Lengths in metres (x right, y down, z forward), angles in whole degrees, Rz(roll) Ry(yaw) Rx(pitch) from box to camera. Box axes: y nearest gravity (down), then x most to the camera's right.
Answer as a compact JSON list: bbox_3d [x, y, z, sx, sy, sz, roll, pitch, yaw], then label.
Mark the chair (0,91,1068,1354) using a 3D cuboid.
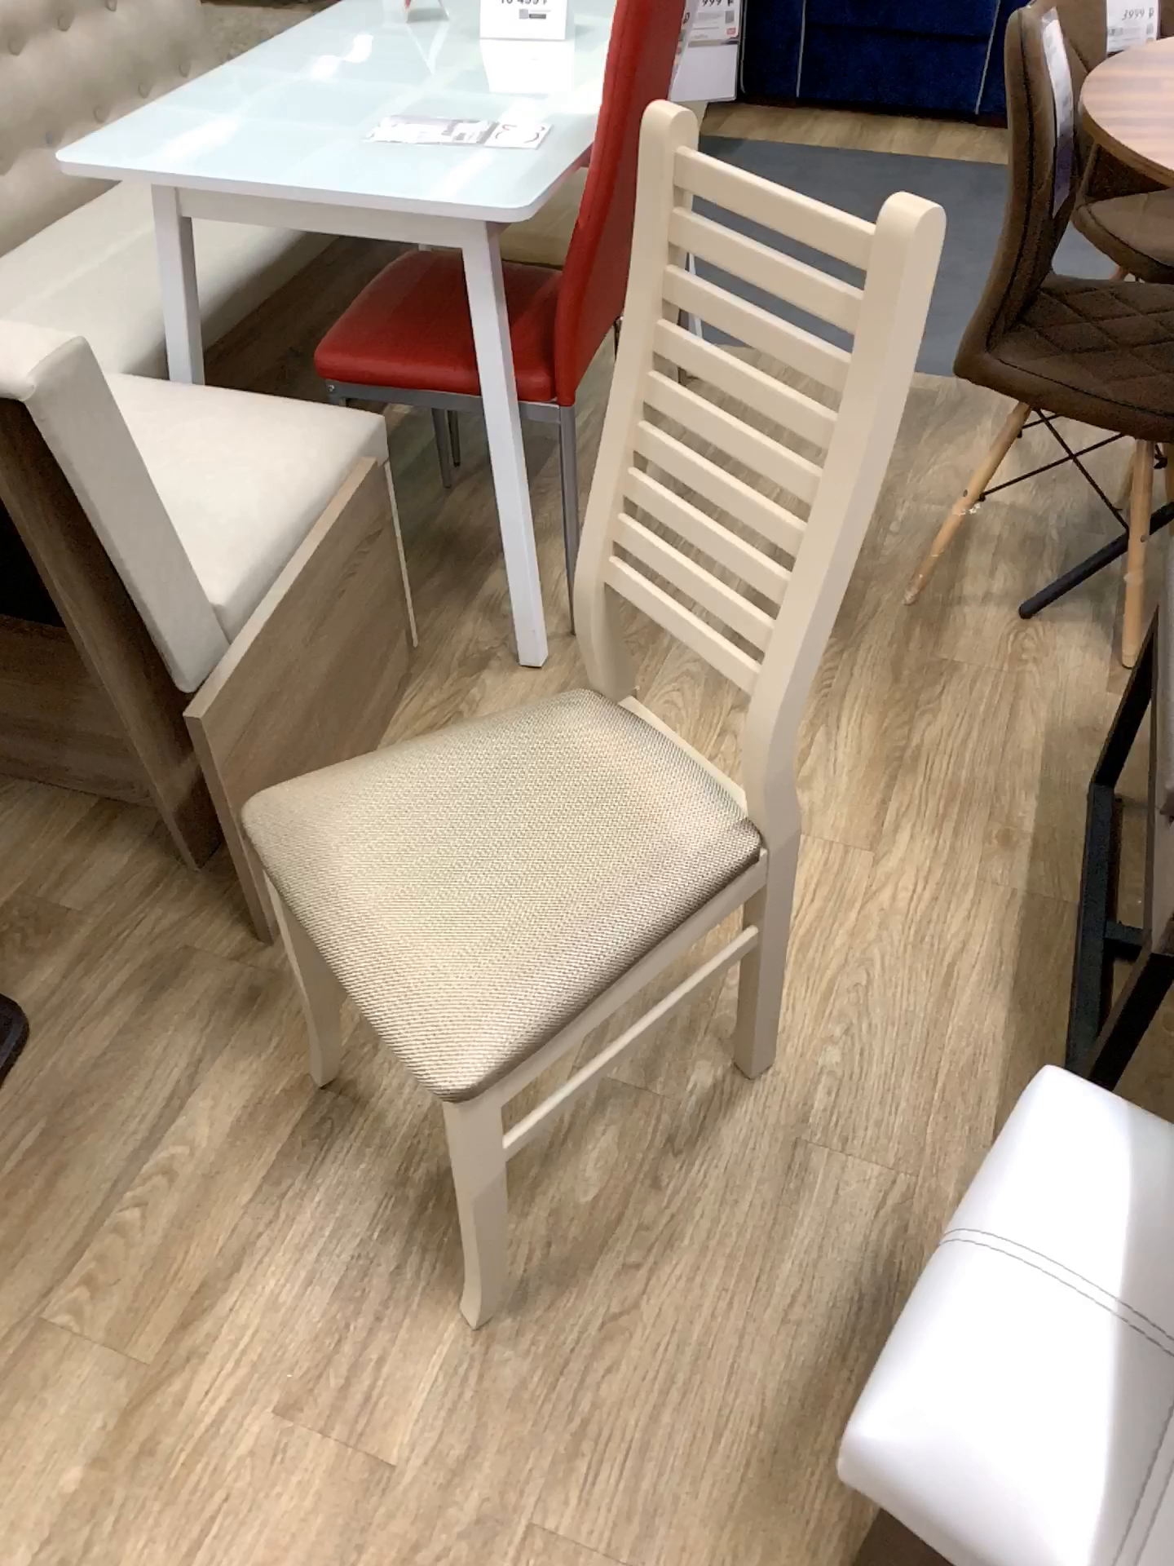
[{"bbox_3d":[-0.033,-0.003,1.132,0.551,0.985,0.442,-28,50,-24],"label":"chair"}]
